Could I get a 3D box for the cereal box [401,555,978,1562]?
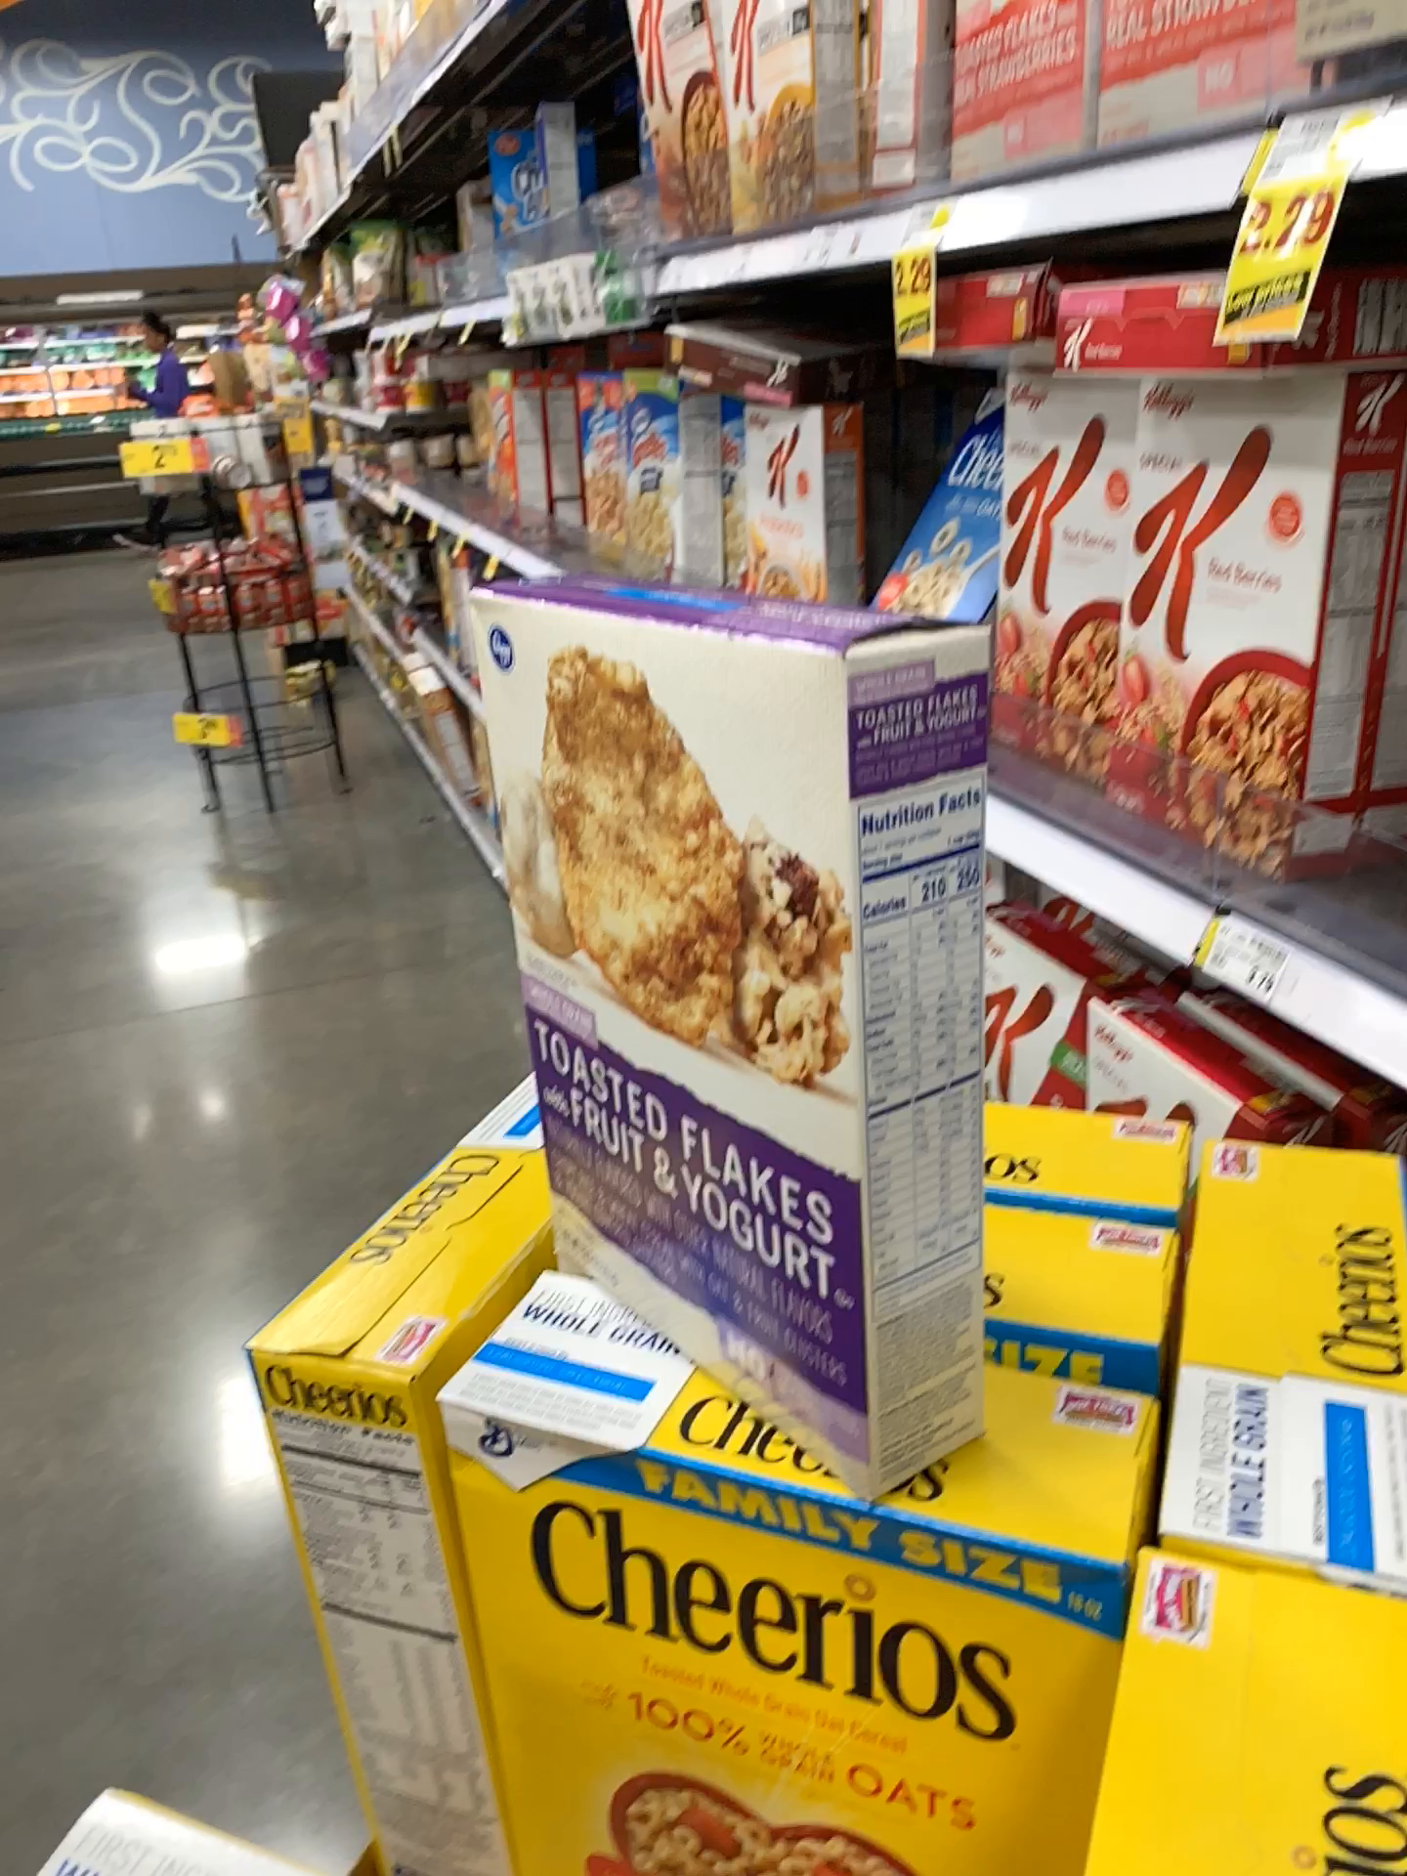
[{"bbox_3d":[-0.006,0.025,0.467,0.060,0.269,0.201,-19,27,-32],"label":"cereal box"}]
